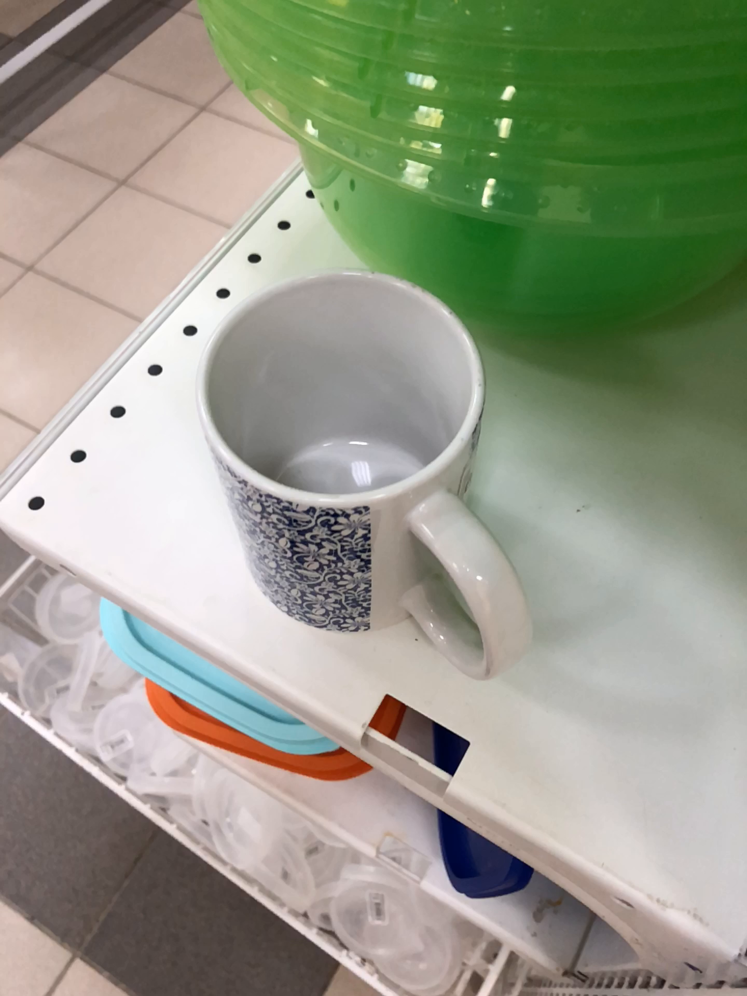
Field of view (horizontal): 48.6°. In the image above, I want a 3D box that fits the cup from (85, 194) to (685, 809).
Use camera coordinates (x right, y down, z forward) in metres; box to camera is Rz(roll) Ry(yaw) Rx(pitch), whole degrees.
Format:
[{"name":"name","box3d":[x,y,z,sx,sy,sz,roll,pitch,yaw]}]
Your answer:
[{"name":"cup","box3d":[-0.002,0.001,0.263,0.097,0.098,0.138,-32,63,-16]}]
